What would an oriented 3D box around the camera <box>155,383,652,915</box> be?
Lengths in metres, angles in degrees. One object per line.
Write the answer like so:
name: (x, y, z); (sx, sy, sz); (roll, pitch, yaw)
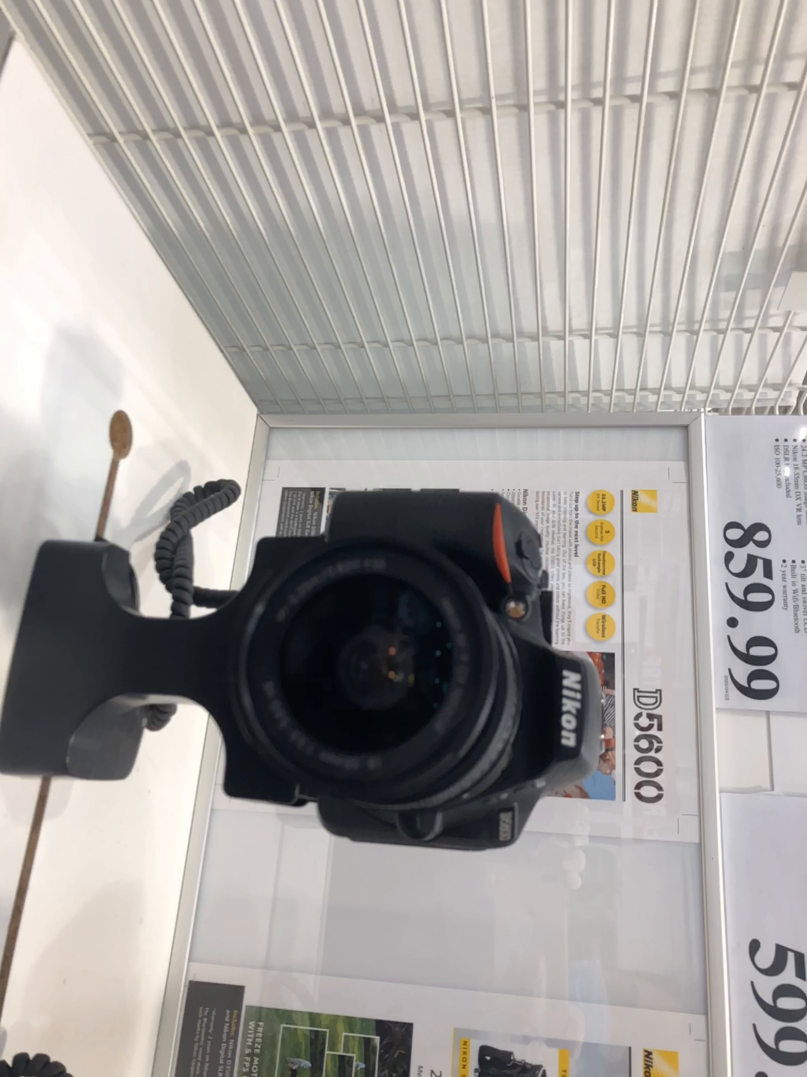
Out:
camera: (0.013, 0.039, 0.285); (0.160, 0.110, 0.120); (59, 33, -73)
